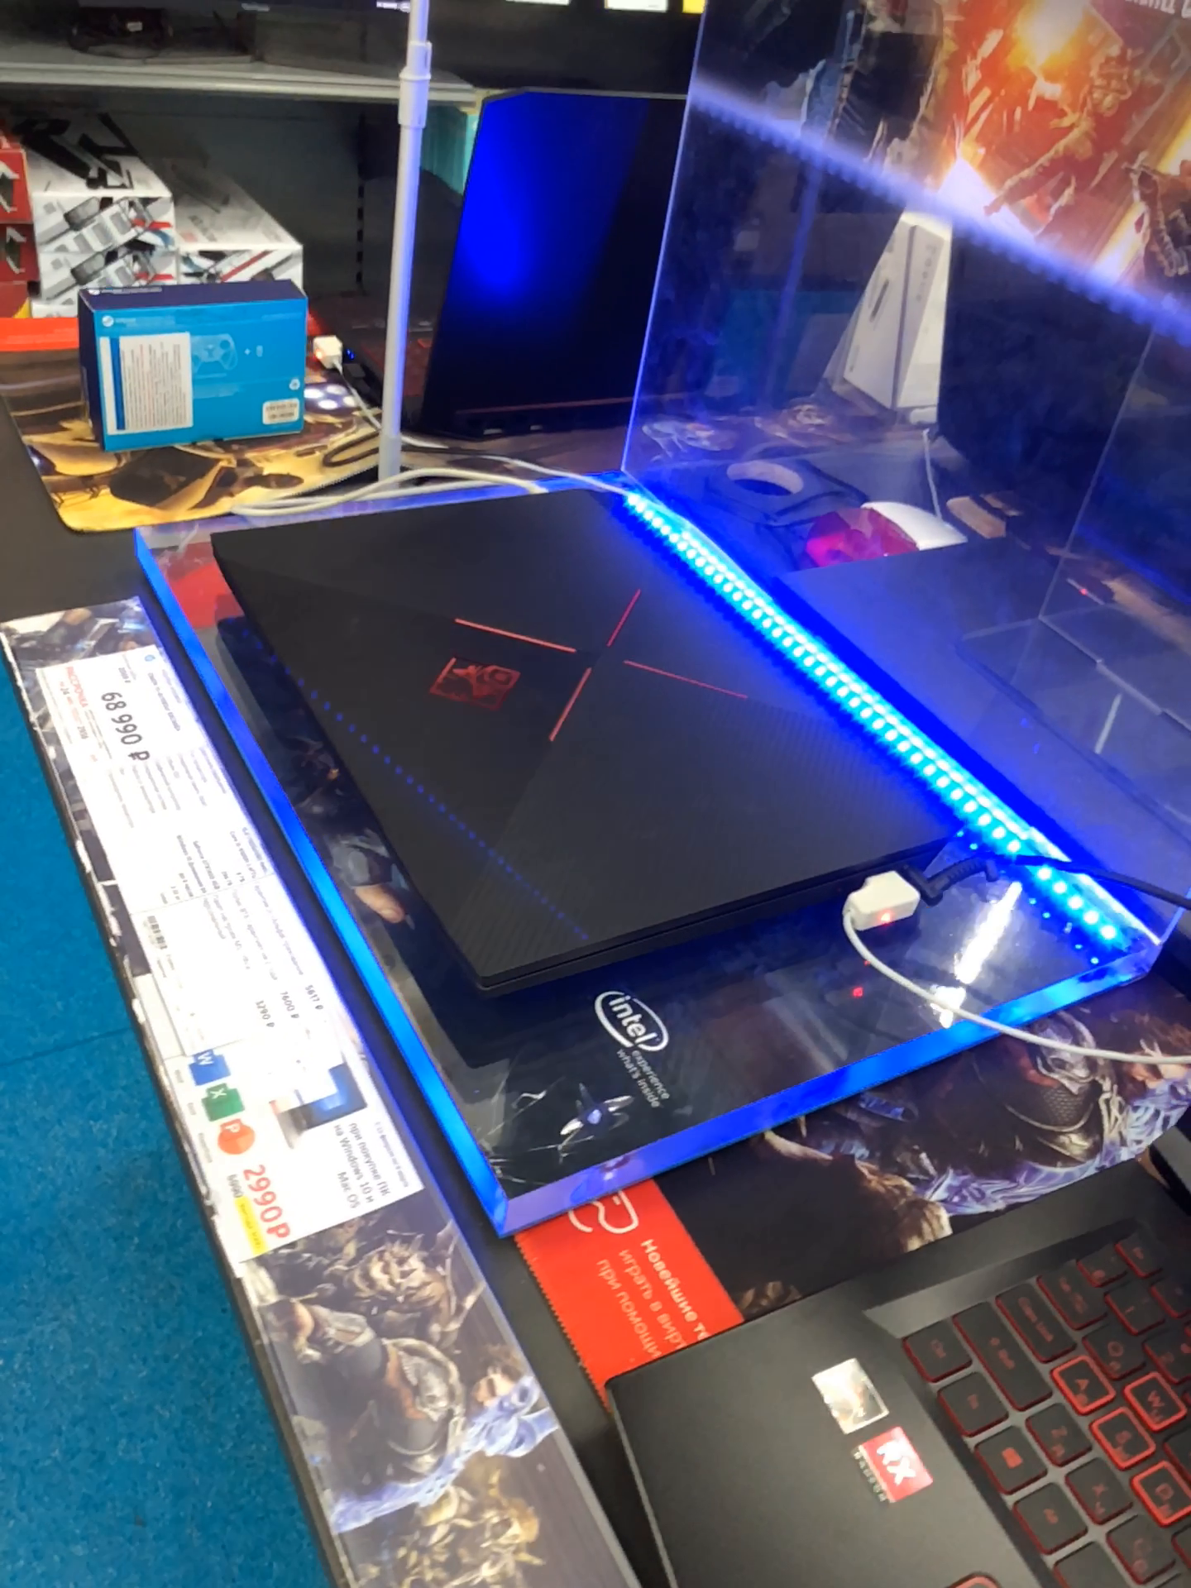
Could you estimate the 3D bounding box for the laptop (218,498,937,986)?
[{"bbox_3d":[-0.027,-0.058,0.659,0.237,0.003,0.351,-13,42,-26],"label":"laptop"}]
